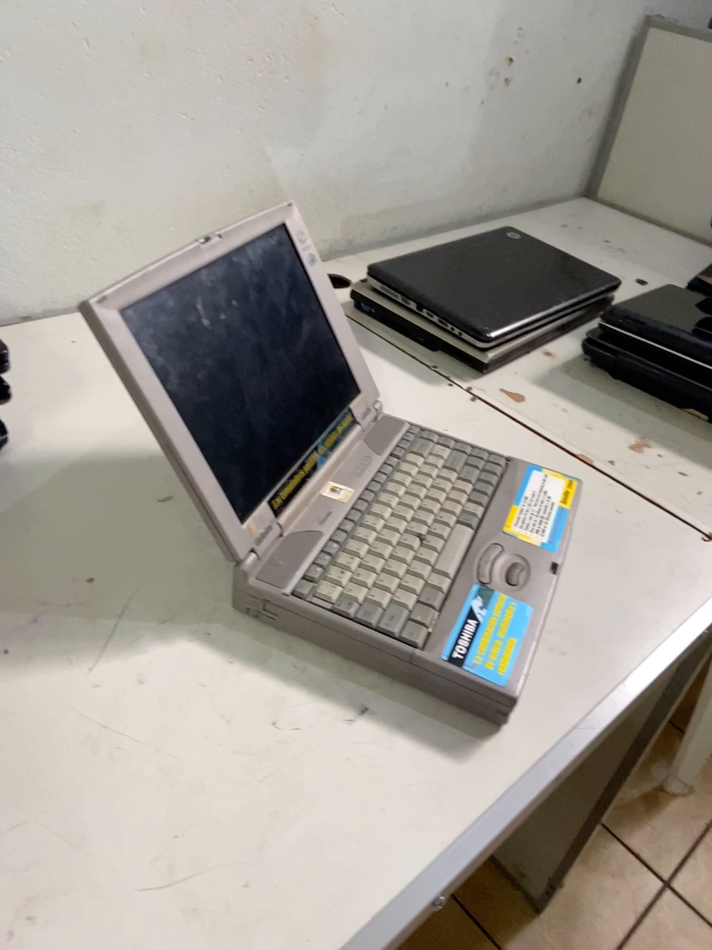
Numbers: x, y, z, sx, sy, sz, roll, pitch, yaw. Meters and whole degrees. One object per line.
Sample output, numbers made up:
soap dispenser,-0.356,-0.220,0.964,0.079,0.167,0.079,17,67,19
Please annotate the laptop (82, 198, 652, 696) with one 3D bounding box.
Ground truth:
laptop,0.025,-0.058,0.625,0.357,0.195,0.303,21,38,14
